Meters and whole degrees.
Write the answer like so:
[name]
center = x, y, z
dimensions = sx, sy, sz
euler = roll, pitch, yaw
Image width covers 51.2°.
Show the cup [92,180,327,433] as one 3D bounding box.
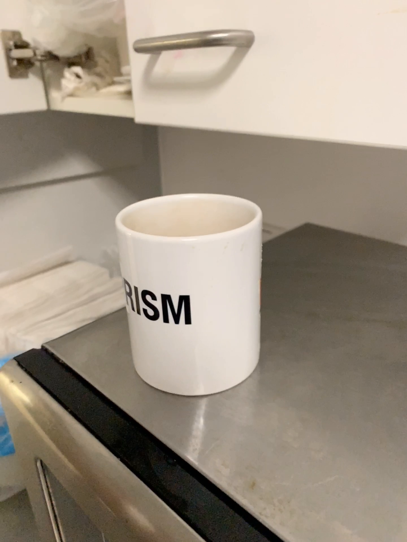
[cup]
center = -0.003, 0.008, 0.266
dimensions = 0.094, 0.099, 0.114
euler = -13, 26, -25
